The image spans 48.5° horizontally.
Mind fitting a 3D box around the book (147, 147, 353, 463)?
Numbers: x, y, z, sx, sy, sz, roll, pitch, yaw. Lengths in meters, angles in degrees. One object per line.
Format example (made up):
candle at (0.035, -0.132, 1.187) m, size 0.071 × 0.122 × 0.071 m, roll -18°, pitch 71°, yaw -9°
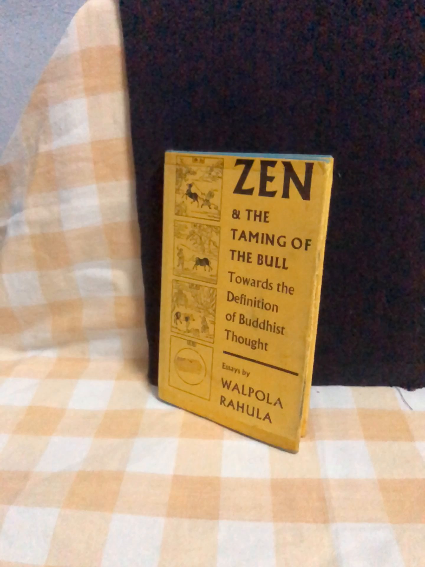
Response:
book at (0.017, 0.011, 0.355) m, size 0.140 × 0.209 × 0.030 m, roll 13°, pitch 19°, yaw 29°
